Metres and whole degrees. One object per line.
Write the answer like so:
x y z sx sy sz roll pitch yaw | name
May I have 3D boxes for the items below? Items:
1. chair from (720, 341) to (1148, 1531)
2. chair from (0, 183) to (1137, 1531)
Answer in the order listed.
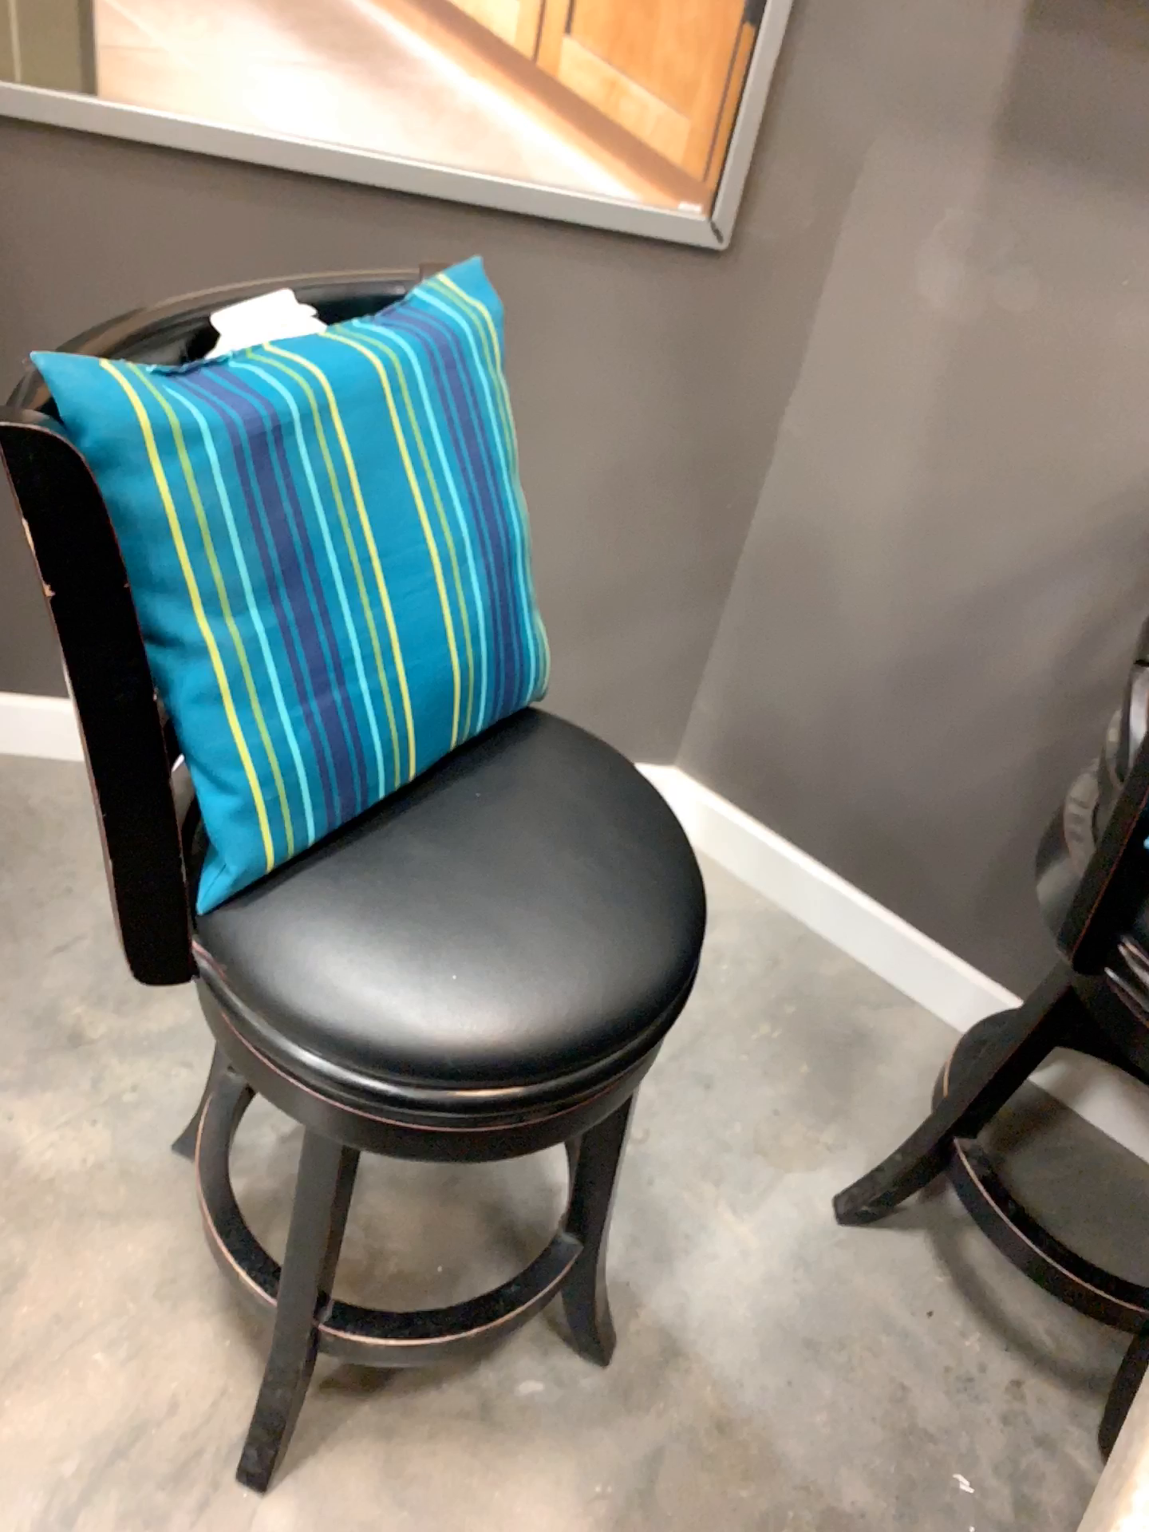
0.654 0.184 1.168 0.596 0.923 0.537 35 42 25 | chair
-0.136 0.122 0.949 0.596 0.904 0.537 35 42 25 | chair
